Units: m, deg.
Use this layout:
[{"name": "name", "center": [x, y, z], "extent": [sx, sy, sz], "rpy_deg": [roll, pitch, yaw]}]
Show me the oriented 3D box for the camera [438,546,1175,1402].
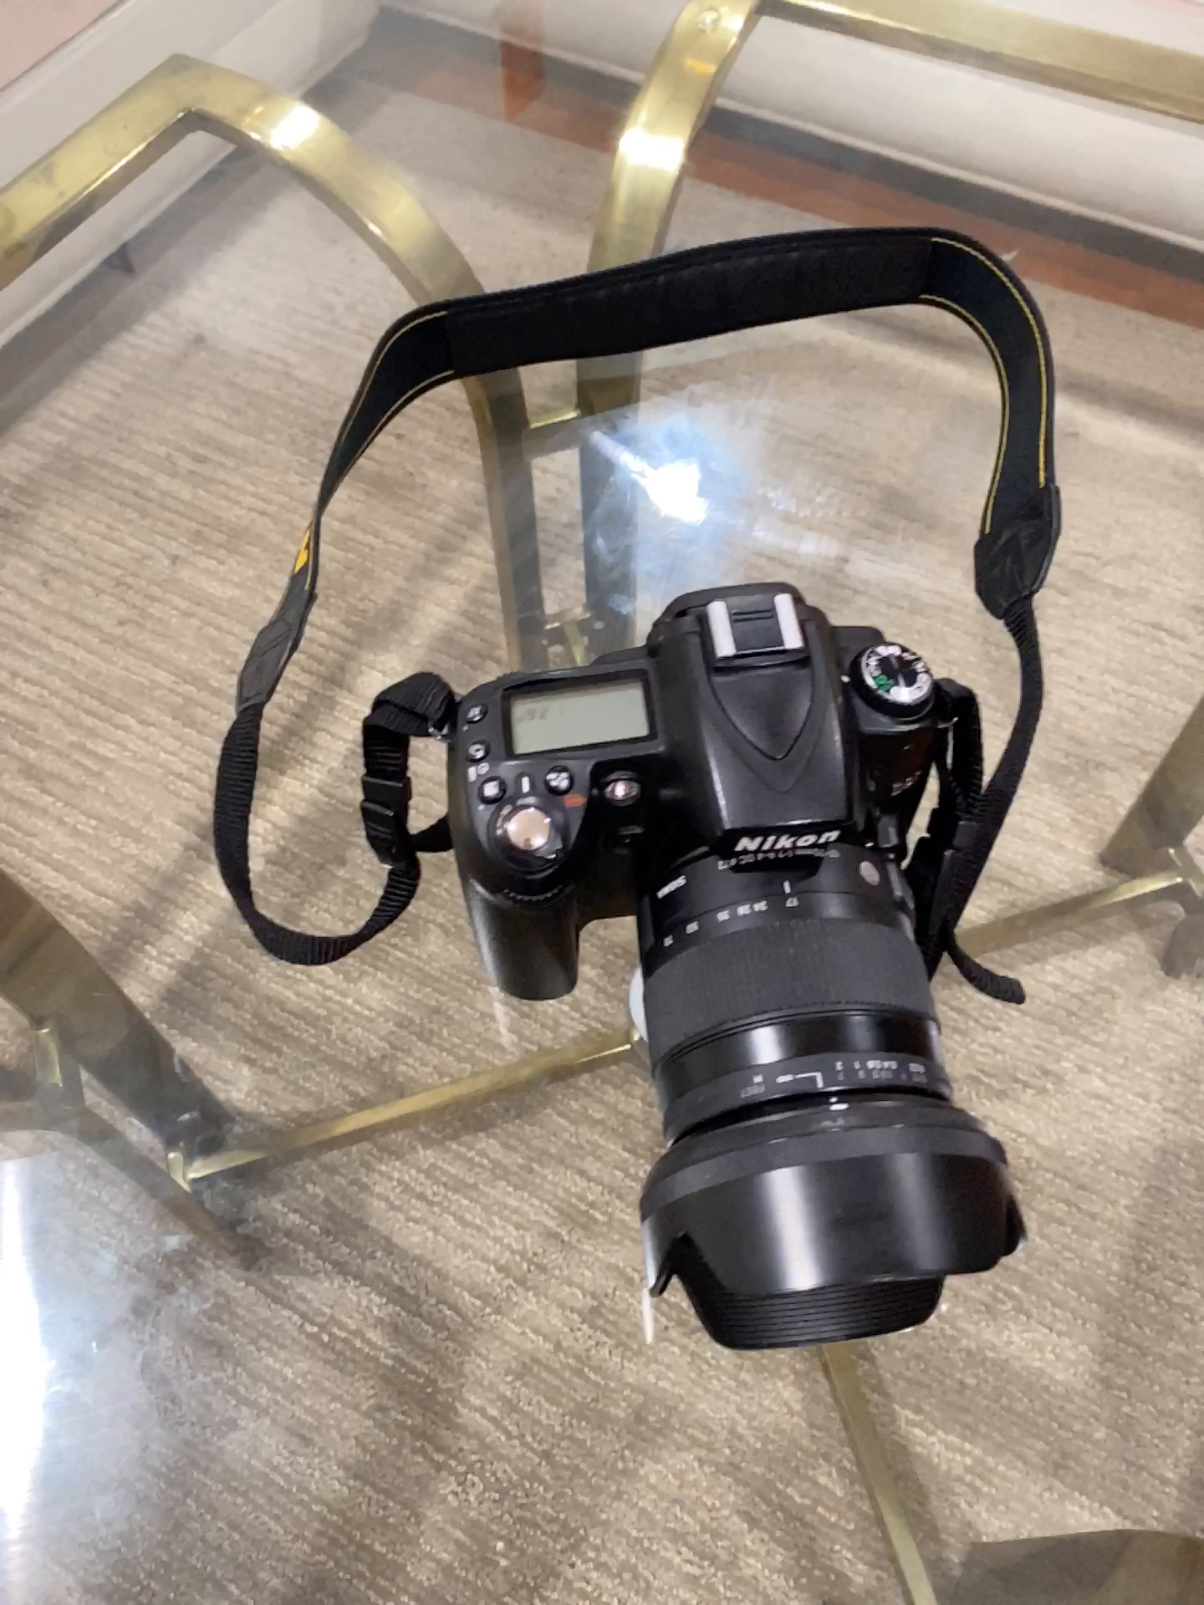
[{"name": "camera", "center": [0.035, 0.047, 0.334], "extent": [0.130, 0.120, 0.181], "rpy_deg": [-8, 58, -3]}]
